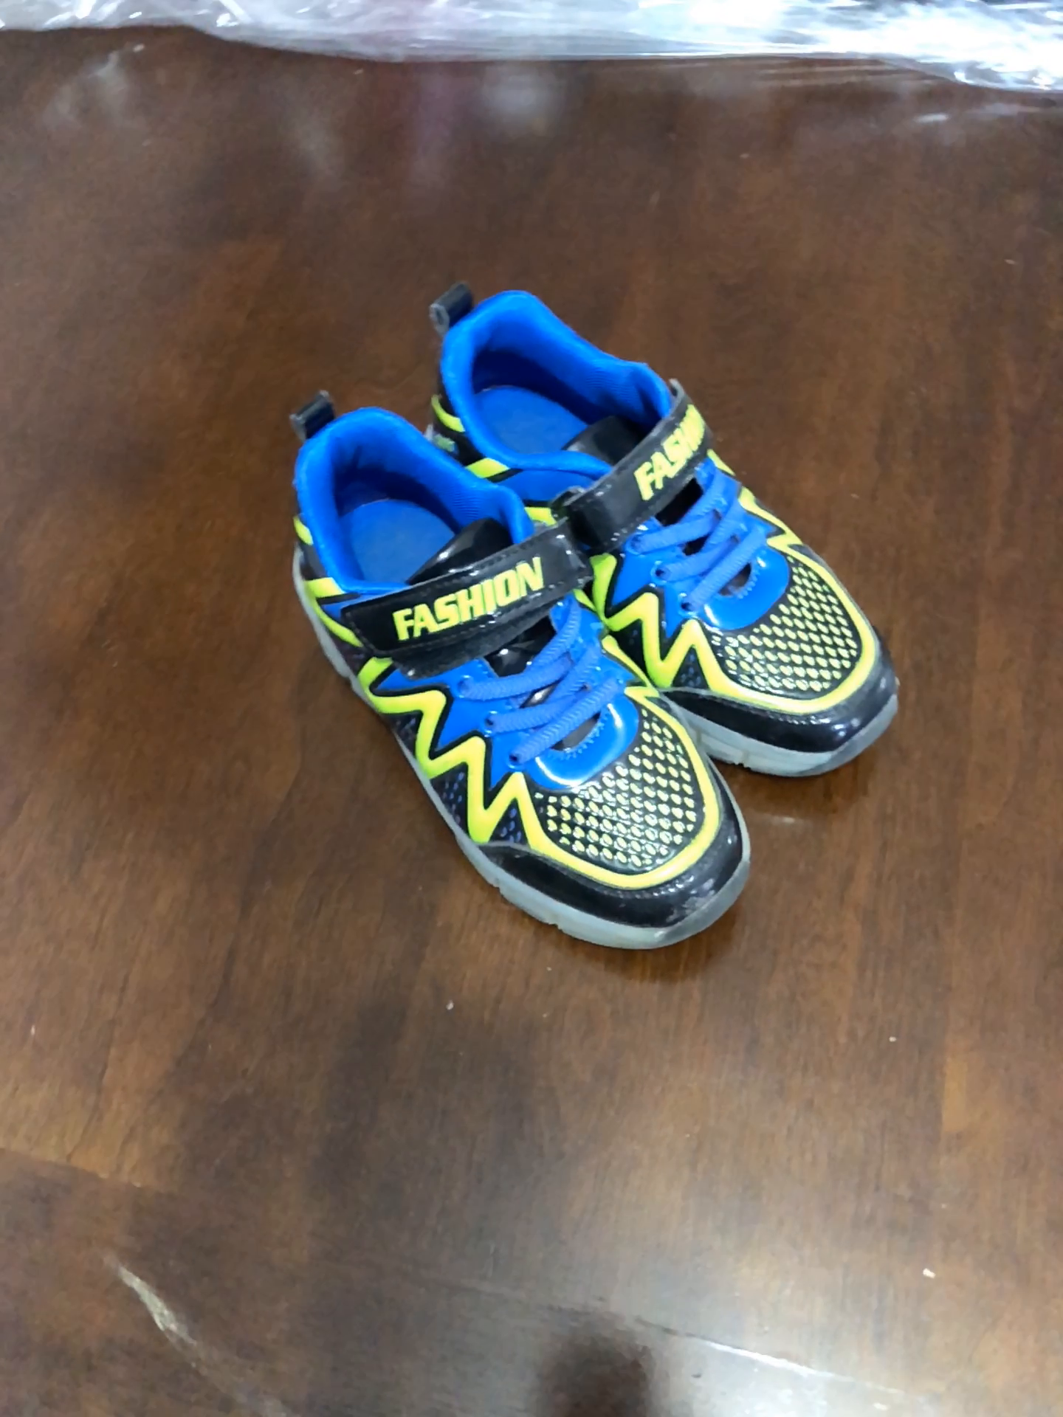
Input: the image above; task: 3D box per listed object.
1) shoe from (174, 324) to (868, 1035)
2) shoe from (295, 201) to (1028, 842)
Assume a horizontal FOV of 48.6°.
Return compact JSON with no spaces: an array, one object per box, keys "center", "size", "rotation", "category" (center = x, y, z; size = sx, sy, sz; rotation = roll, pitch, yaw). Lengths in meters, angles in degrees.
[{"center":[-0.007,-0.011,0.414],"size":[0.100,0.120,0.210],"rotation":[-40,65,-15],"category":"shoe"},{"center":[0.039,-0.071,0.439],"size":[0.230,0.120,0.090],"rotation":[34,69,21],"category":"shoe"}]
